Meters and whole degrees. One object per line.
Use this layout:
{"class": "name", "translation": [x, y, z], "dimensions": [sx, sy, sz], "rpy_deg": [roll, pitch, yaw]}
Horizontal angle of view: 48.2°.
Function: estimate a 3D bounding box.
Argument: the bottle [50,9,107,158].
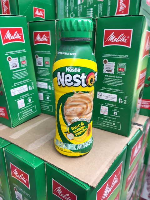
{"class": "bottle", "translation": [0.001, -0.018, 0.229], "dimensions": [0.060, 0.179, 0.060], "rpy_deg": [1, 17, 0]}
